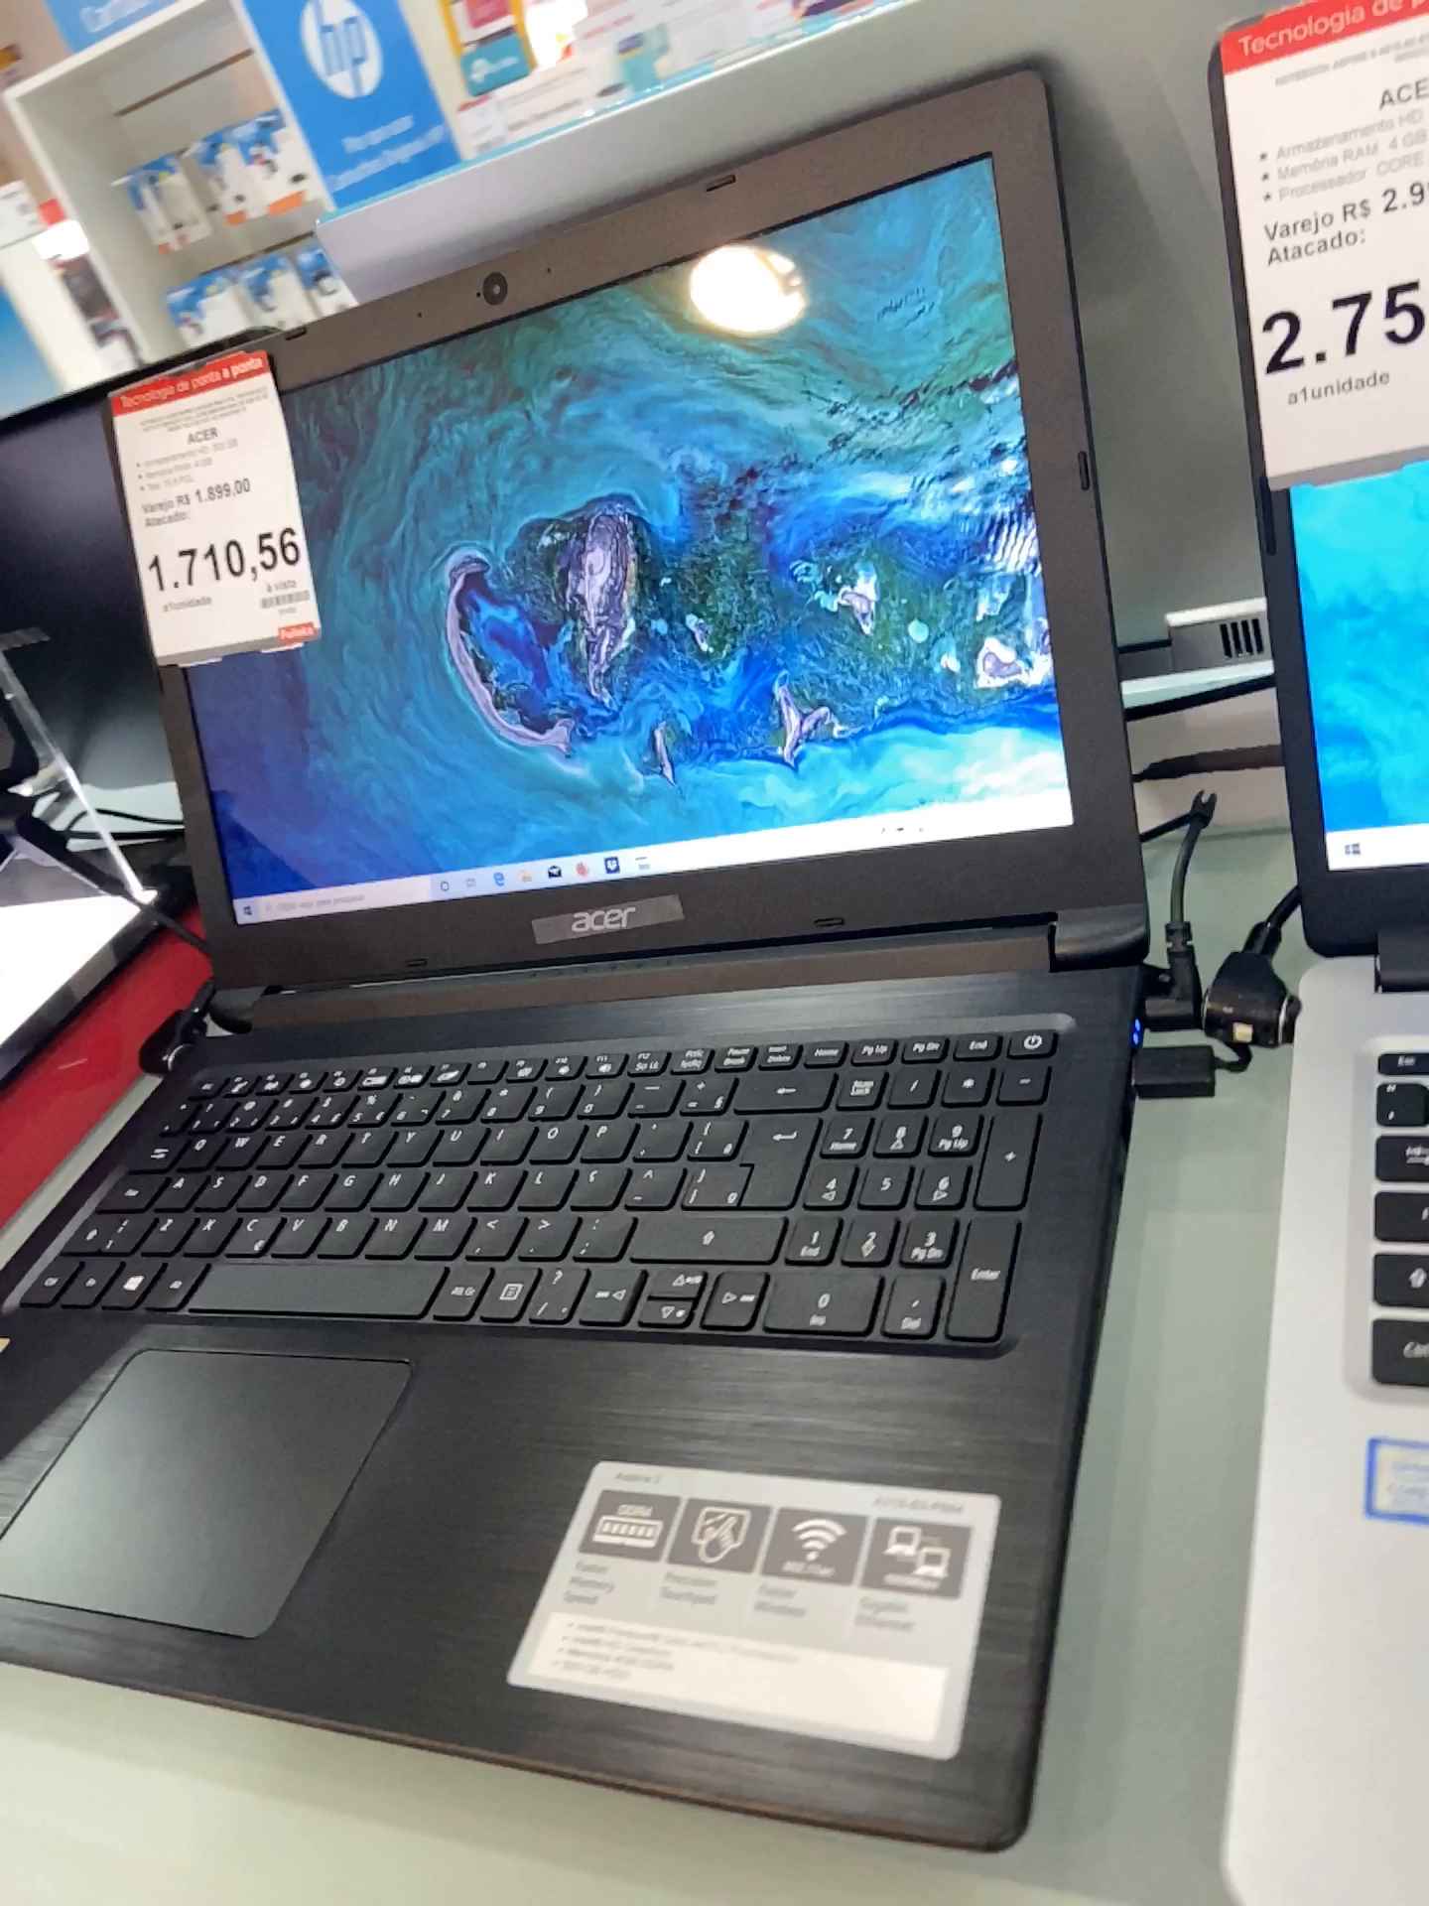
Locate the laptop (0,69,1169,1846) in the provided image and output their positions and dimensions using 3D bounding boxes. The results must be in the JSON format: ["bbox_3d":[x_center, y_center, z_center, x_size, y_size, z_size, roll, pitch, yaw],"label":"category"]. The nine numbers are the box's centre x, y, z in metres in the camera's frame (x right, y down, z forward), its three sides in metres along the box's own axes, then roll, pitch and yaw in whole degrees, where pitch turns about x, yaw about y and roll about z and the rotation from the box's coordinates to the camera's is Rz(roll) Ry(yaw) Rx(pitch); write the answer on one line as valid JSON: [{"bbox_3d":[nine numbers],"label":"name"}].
[{"bbox_3d":[-0.097,-0.034,0.423,0.377,0.216,0.381,-6,36,27],"label":"laptop"}]
